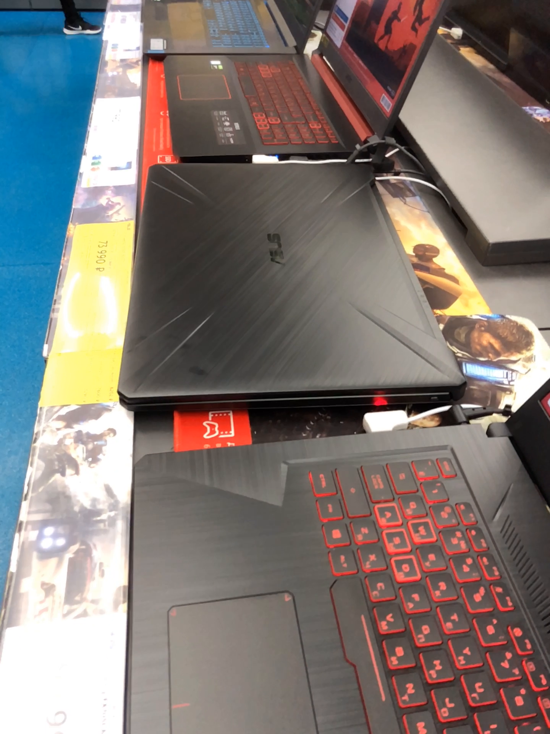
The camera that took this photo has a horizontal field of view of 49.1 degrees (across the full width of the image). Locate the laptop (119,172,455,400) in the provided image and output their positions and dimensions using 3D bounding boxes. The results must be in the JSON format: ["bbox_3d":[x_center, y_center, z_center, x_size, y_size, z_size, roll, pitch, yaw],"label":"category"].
[{"bbox_3d":[-0.001,-0.110,0.606,0.261,0.001,0.387,-1,43,-5],"label":"laptop"}]
